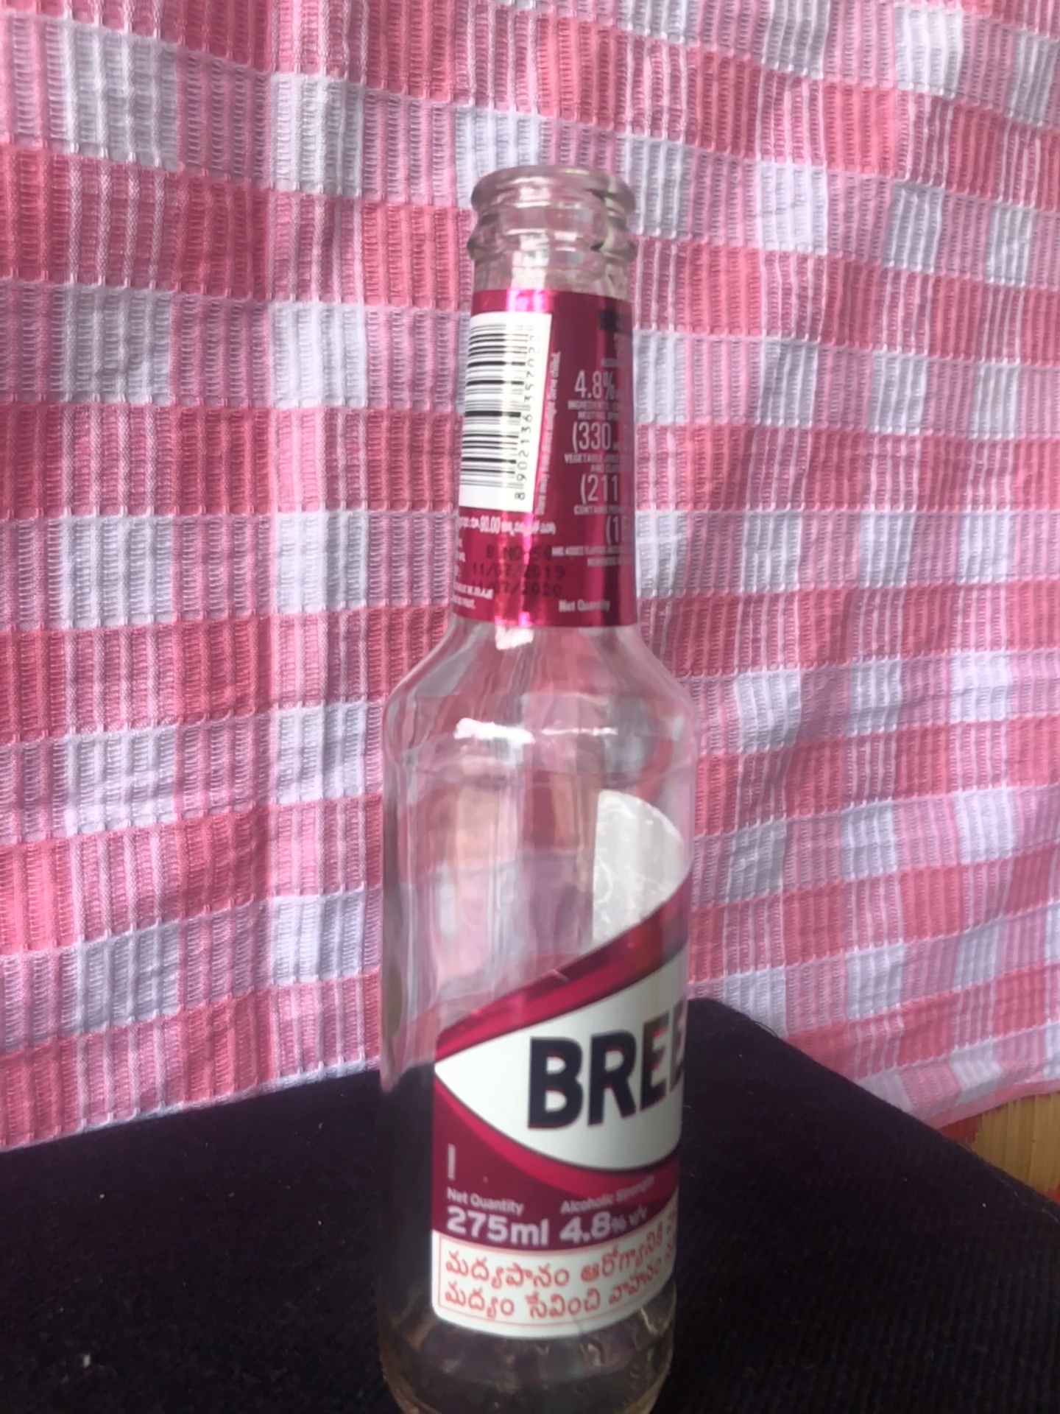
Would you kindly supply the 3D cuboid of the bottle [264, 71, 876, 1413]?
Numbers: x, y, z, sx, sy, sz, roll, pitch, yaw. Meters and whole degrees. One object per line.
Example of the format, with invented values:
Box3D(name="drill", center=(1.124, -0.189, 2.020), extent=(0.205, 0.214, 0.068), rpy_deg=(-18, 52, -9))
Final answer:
Box3D(name="bottle", center=(0.004, 0.025, 0.189), extent=(0.060, 0.209, 0.060), rpy_deg=(4, 10, -1))
